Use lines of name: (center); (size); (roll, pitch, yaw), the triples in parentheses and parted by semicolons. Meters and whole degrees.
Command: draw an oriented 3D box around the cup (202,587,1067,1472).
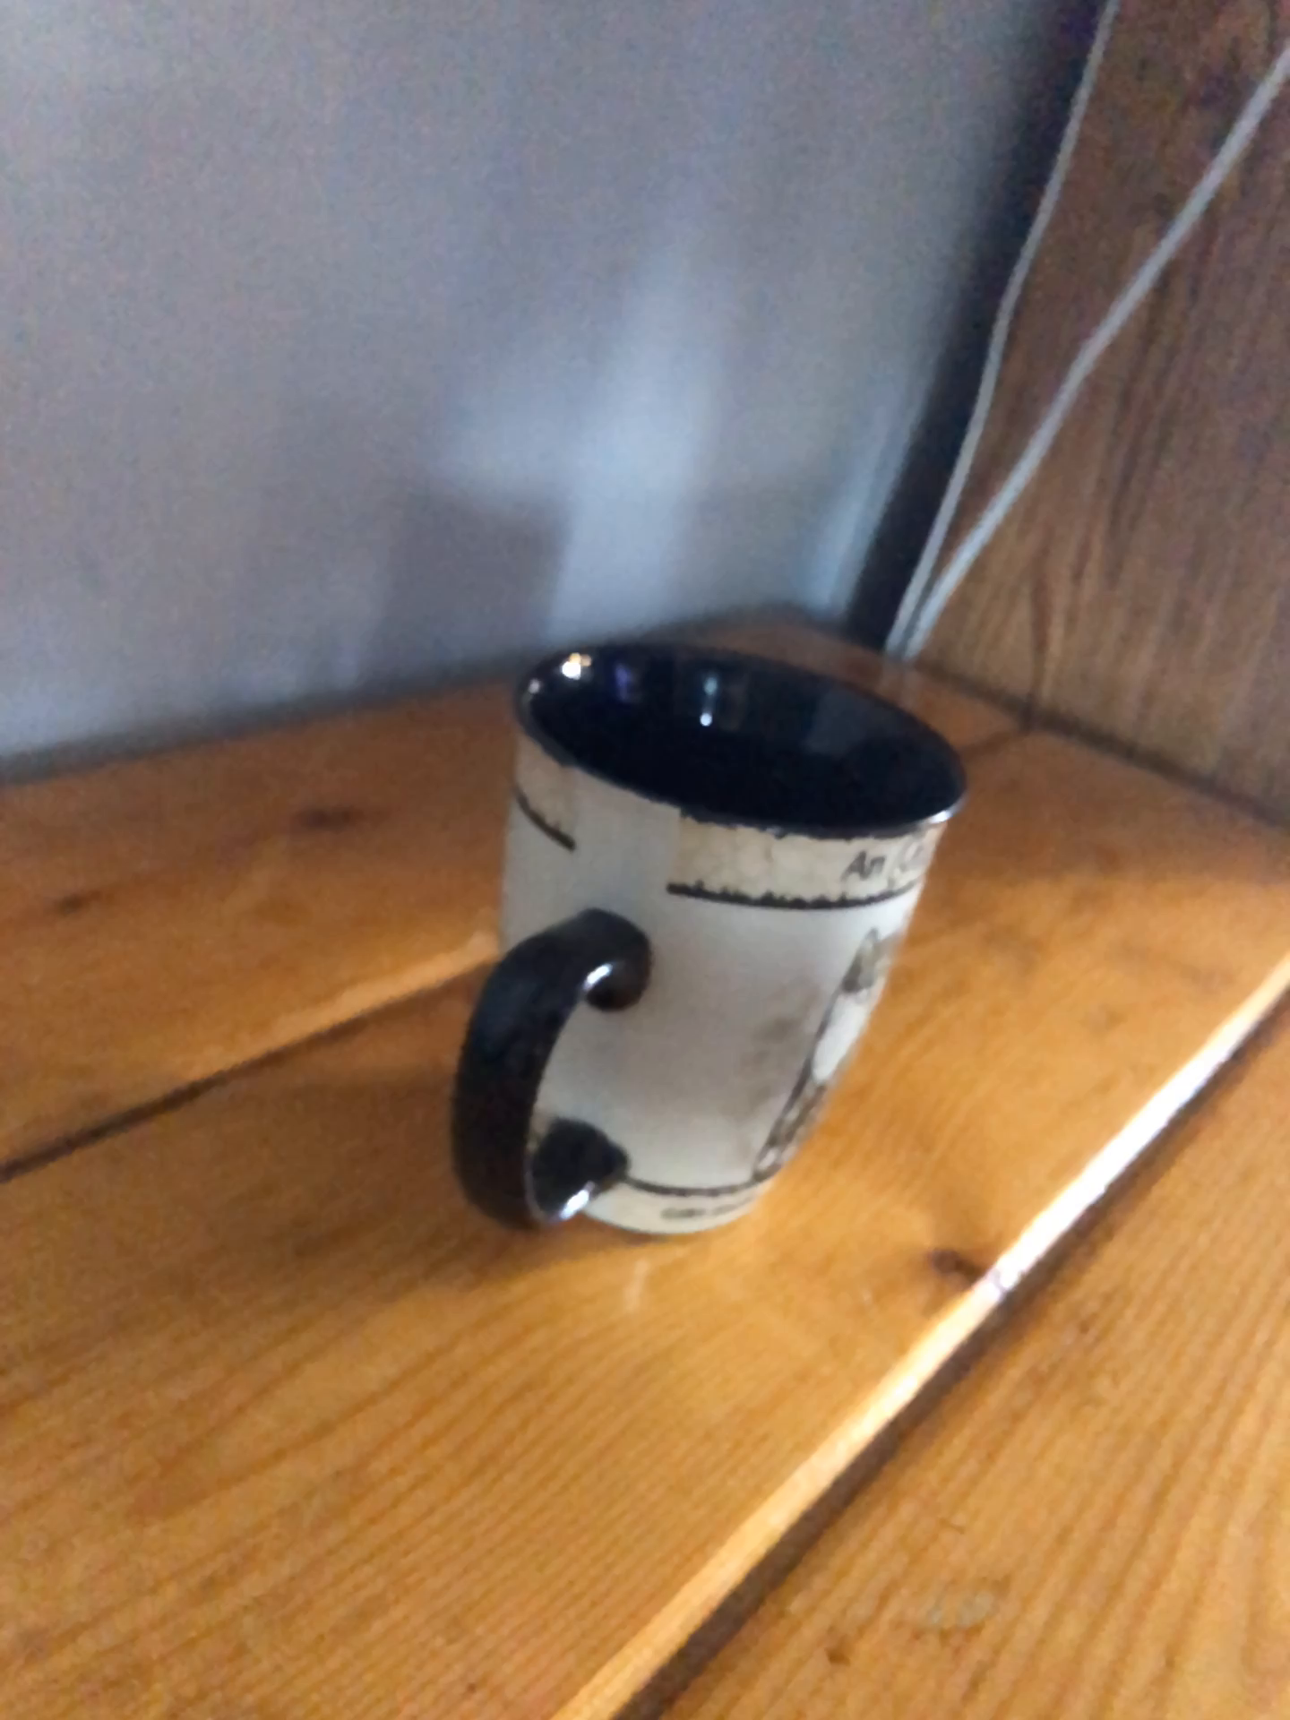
cup: (0.002, 0.019, 0.299); (0.100, 0.100, 0.140); (26, 29, 22)
